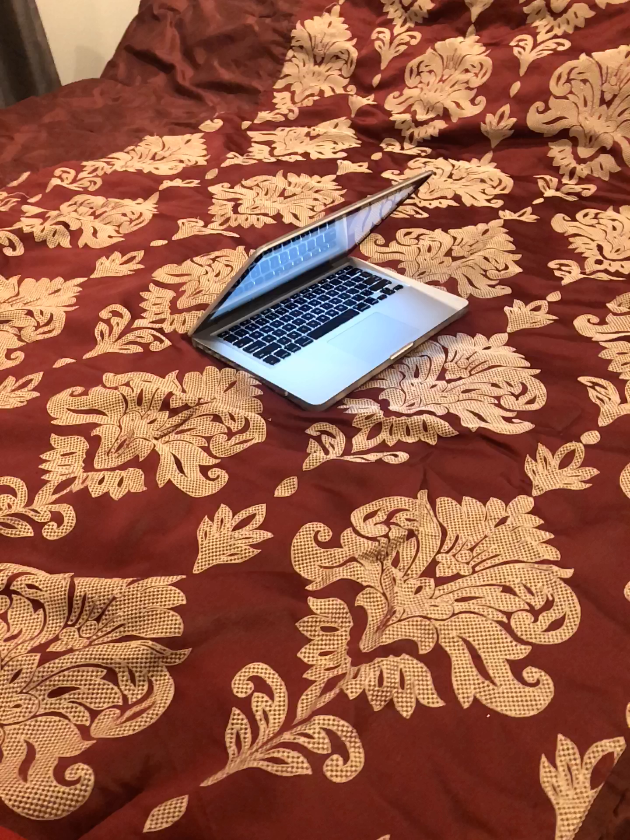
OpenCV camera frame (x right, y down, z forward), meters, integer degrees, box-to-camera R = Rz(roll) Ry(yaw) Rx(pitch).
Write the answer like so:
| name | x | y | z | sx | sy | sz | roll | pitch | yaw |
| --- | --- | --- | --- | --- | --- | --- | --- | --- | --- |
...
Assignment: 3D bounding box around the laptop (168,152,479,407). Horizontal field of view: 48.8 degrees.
| name | x | y | z | sx | sy | sz | roll | pitch | yaw |
| --- | --- | --- | --- | --- | --- | --- | --- | --- | --- |
| laptop | 0.020 | -0.191 | 0.854 | 0.212 | 0.156 | 0.313 | 28 | 46 | 31 |
